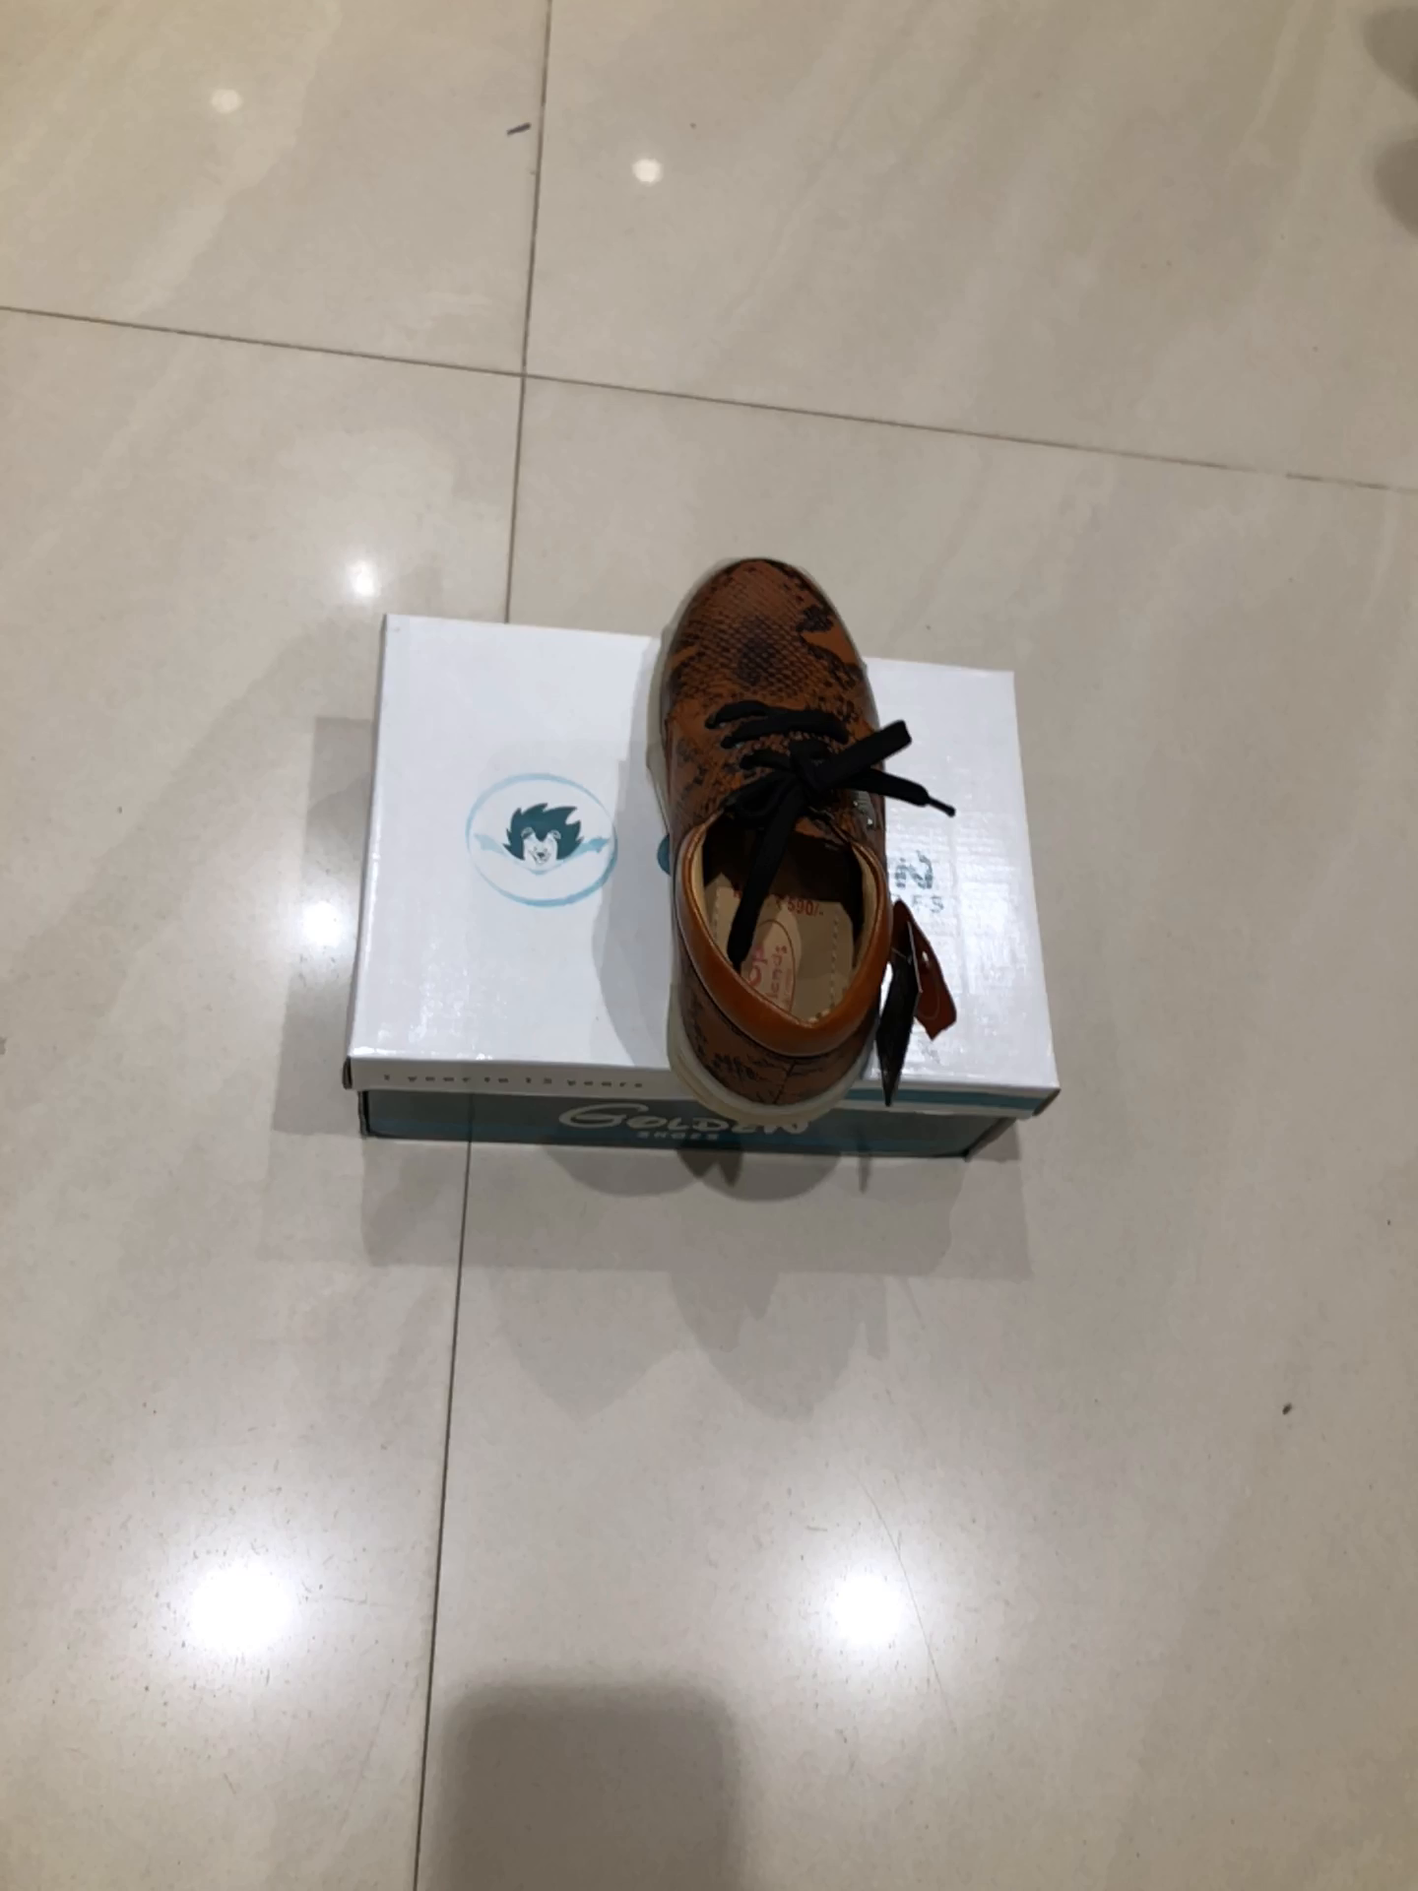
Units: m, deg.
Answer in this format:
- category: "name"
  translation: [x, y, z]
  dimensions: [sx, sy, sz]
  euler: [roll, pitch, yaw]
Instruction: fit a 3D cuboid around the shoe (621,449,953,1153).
- category: "shoe"
  translation: [0.019, -0.045, 0.503]
  dimensions: [0.080, 0.090, 0.201]
  euler: [4, 65, -9]
